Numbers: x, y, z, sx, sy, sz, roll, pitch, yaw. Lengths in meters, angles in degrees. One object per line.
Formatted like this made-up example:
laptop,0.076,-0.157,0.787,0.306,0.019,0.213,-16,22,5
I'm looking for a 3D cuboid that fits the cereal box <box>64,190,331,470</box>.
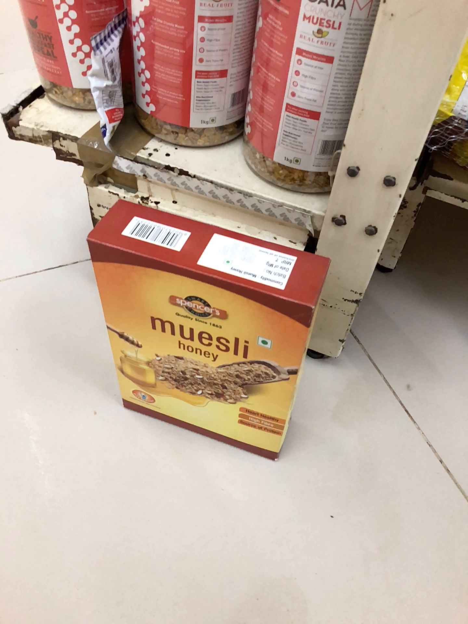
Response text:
cereal box,-0.032,0.034,0.482,0.190,0.259,0.060,18,51,12
